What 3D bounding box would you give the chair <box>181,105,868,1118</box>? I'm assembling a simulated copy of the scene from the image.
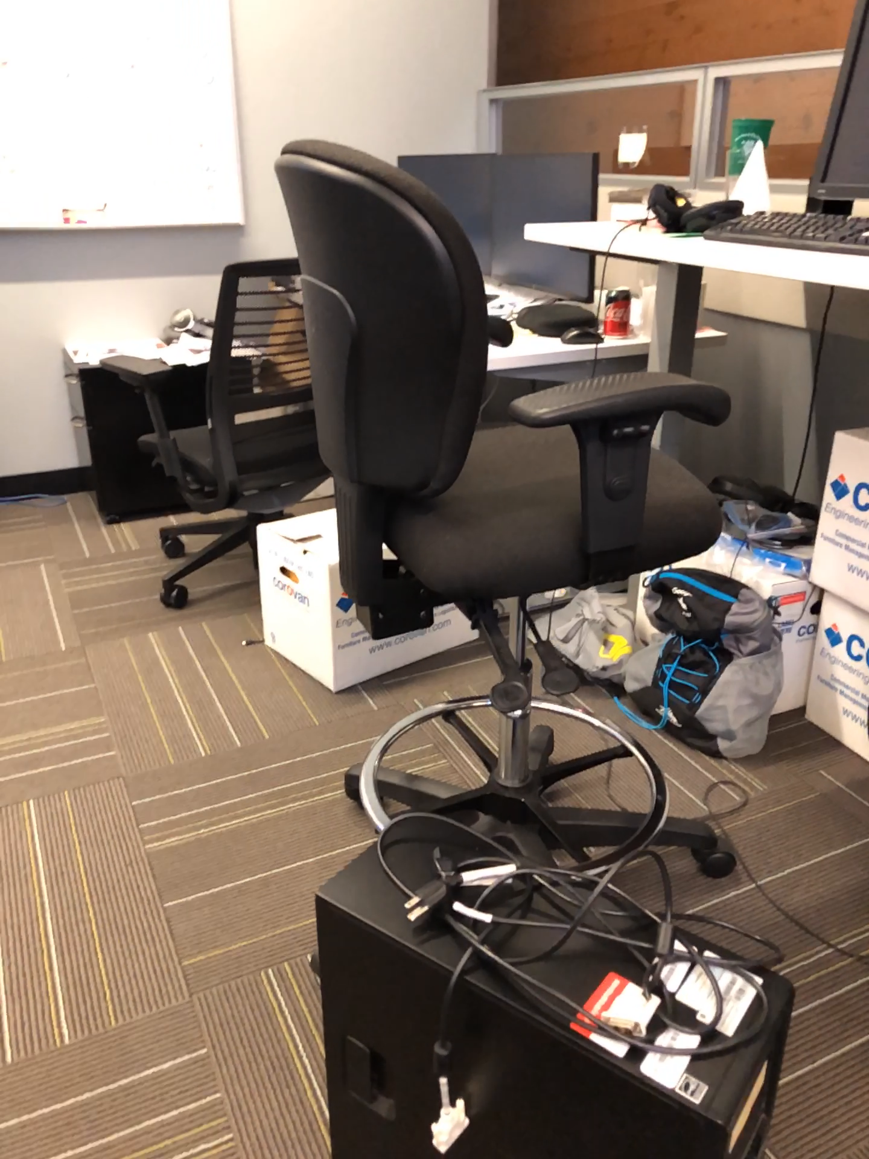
[{"bbox_3d":[0.115,-0.024,1.355,0.731,1.134,0.643,-9,25,-19],"label":"chair"}]
